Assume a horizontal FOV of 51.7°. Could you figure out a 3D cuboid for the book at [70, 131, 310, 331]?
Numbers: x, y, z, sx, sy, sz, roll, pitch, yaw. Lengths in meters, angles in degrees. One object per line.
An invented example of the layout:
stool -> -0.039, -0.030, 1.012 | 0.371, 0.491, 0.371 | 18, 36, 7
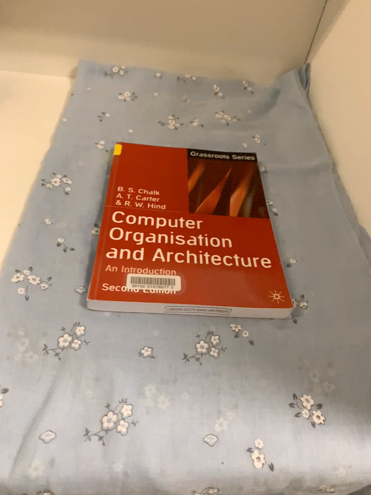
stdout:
book -> 0.002, -0.037, 0.435 | 0.210, 0.030, 0.273 | 4, 47, -6
